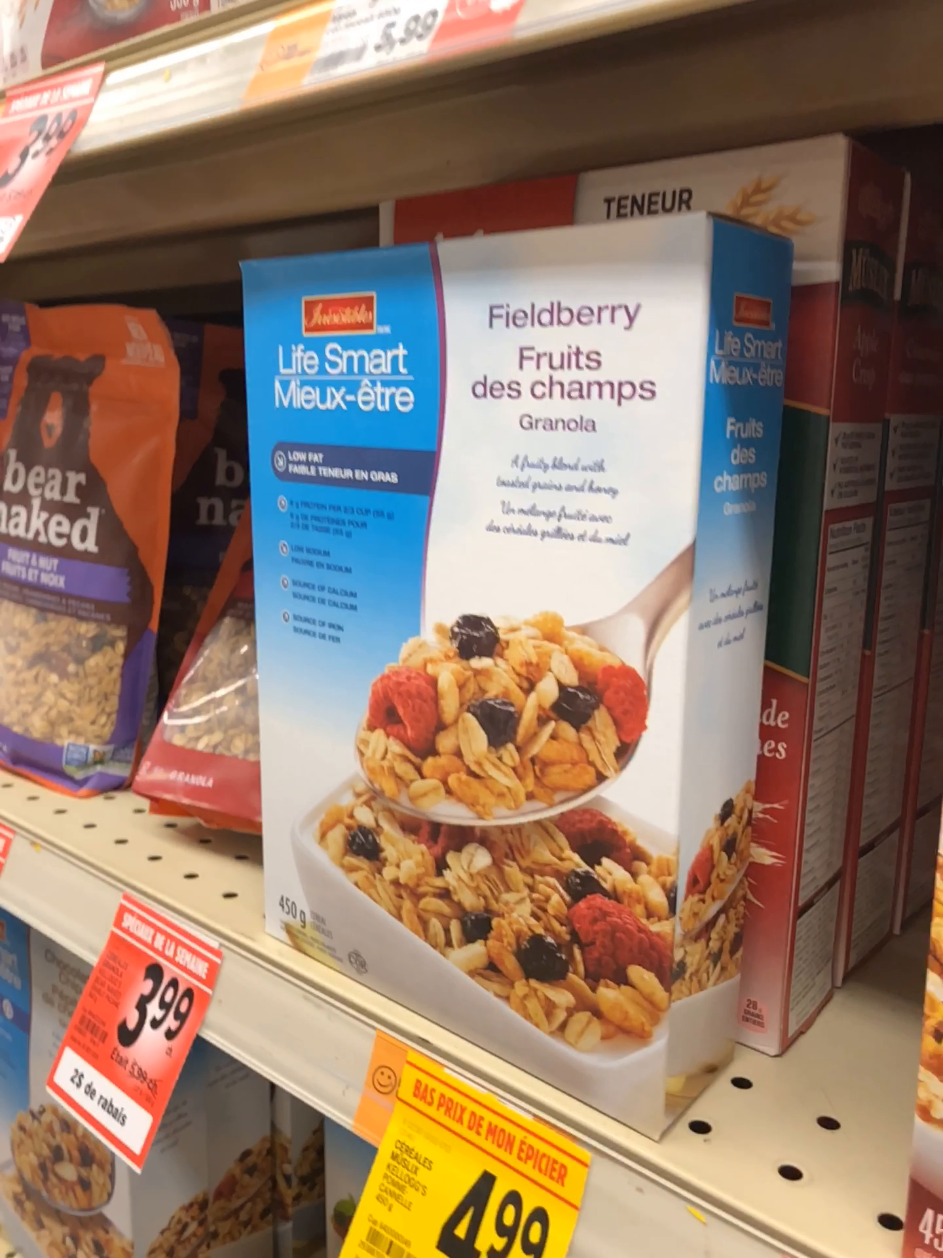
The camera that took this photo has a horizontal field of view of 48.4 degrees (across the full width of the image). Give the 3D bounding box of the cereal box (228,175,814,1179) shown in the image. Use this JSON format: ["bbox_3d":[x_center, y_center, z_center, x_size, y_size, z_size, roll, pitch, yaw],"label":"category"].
[{"bbox_3d":[0.002,0.006,0.316,0.170,0.239,0.050,11,16,41],"label":"cereal box"}]
